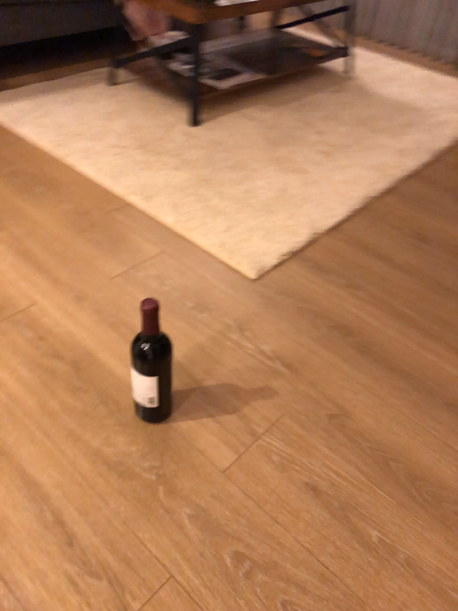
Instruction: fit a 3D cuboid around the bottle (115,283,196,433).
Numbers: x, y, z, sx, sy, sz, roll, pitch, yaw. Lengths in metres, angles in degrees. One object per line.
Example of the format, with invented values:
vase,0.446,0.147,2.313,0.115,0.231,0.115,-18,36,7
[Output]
bottle,-0.136,0.103,0.949,0.100,0.258,0.110,-19,48,-26
